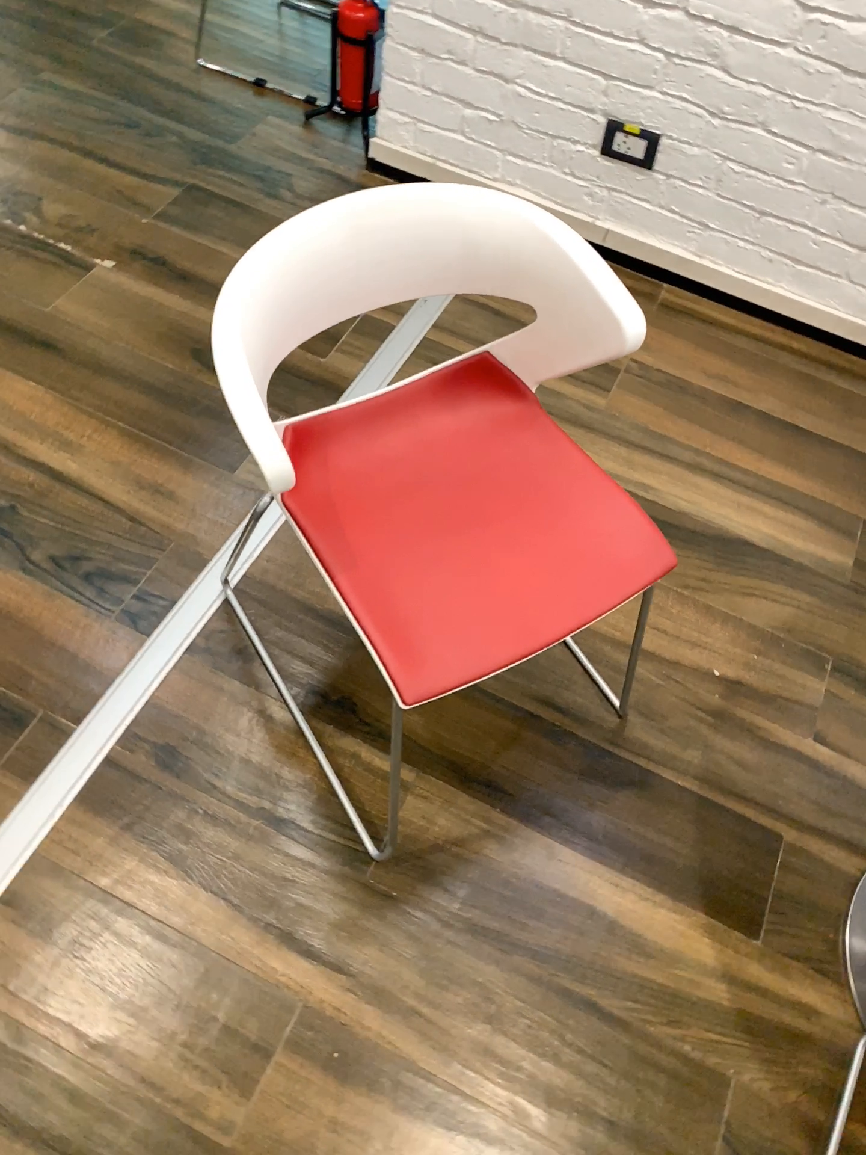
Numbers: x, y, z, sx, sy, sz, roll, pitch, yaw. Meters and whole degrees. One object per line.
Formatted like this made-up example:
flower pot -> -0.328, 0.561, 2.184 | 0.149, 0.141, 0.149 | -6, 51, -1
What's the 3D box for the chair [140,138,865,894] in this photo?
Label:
chair -> 0.041, -0.074, 1.255 | 0.591, 0.676, 0.642 | -24, 63, -22
